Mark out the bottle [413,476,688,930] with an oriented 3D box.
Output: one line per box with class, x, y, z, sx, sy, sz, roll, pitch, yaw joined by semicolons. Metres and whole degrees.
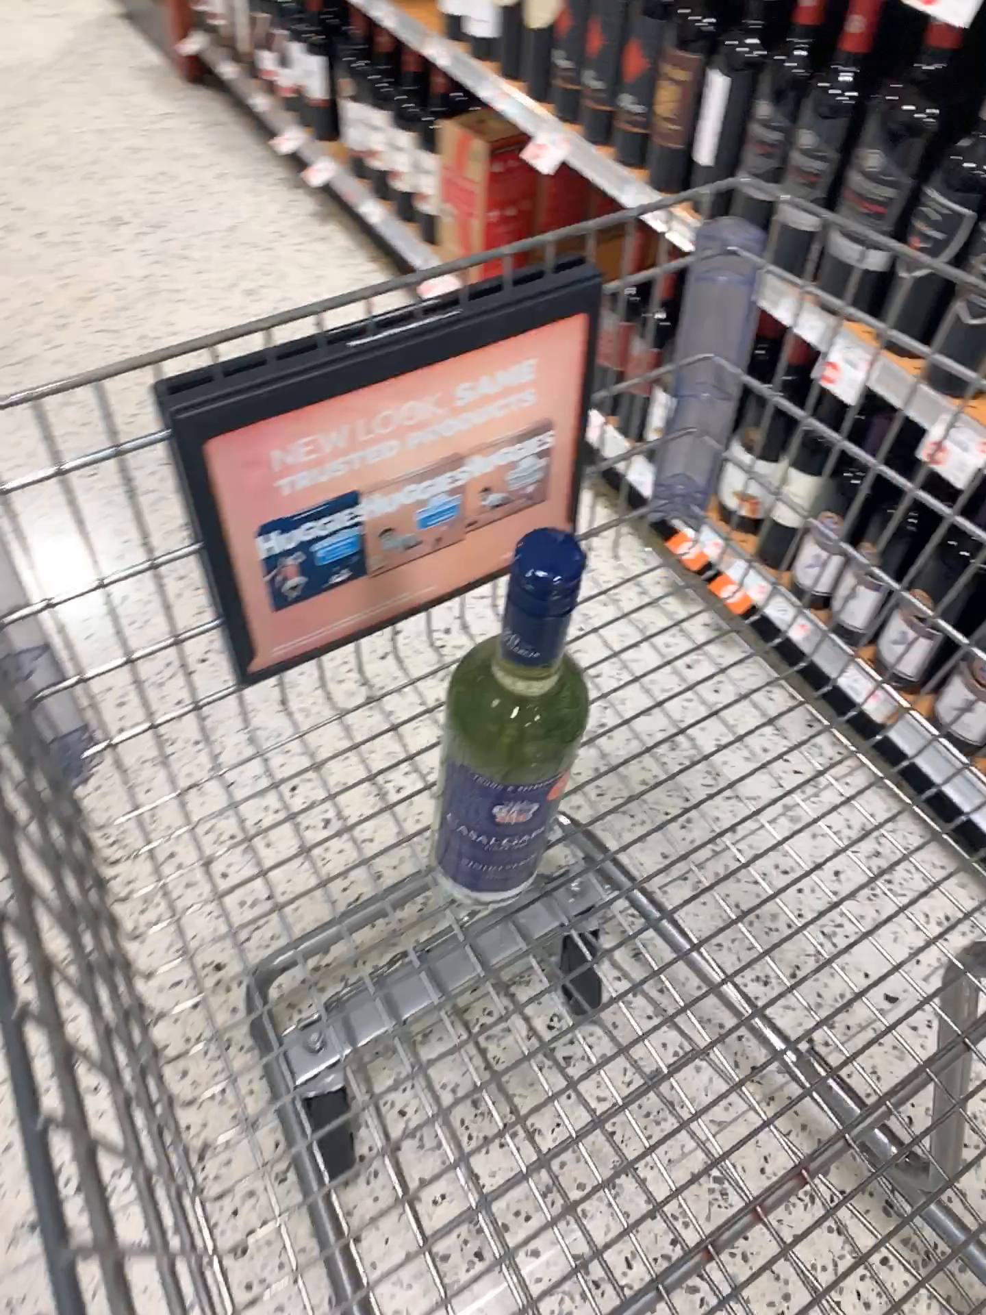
bottle;0.015;0.040;0.542;0.090;0.277;0.081;-6;51;-13
